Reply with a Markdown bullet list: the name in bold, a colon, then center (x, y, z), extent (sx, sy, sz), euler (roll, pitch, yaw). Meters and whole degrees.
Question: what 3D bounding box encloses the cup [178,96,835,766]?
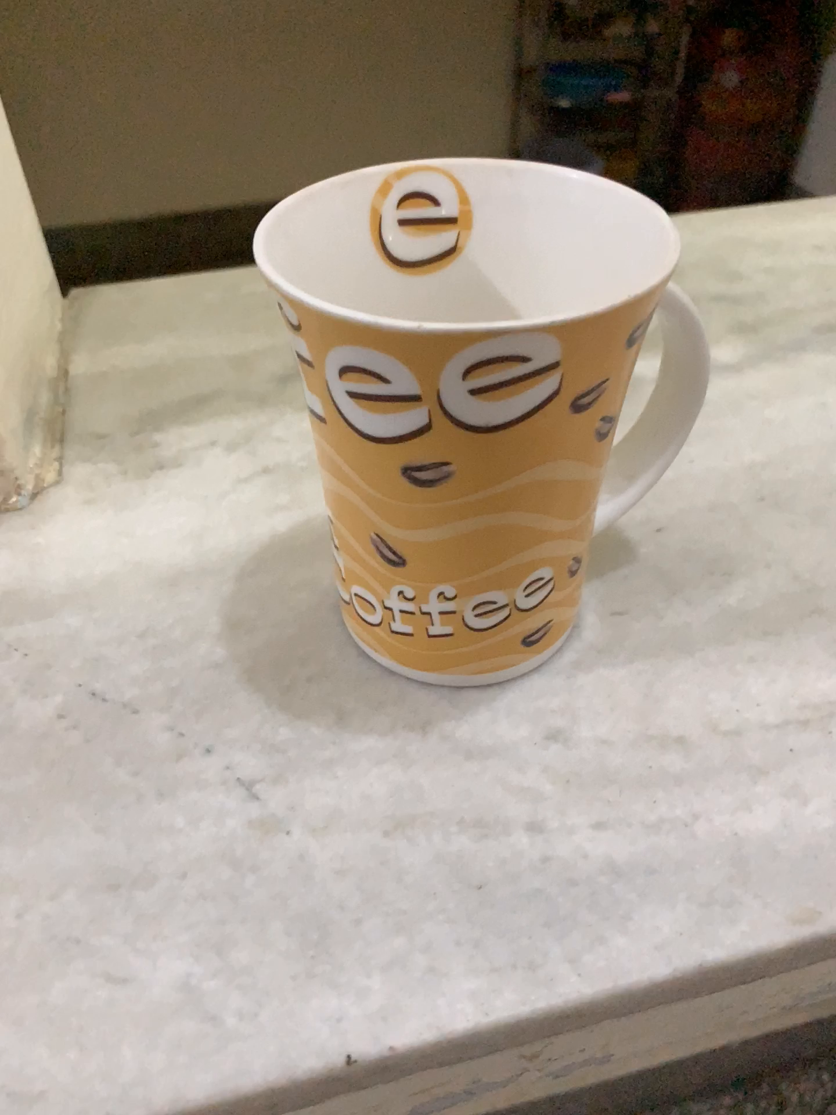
- **cup**: center (0.015, -0.031, 0.194), extent (0.100, 0.100, 0.080), euler (-17, 43, -16)
